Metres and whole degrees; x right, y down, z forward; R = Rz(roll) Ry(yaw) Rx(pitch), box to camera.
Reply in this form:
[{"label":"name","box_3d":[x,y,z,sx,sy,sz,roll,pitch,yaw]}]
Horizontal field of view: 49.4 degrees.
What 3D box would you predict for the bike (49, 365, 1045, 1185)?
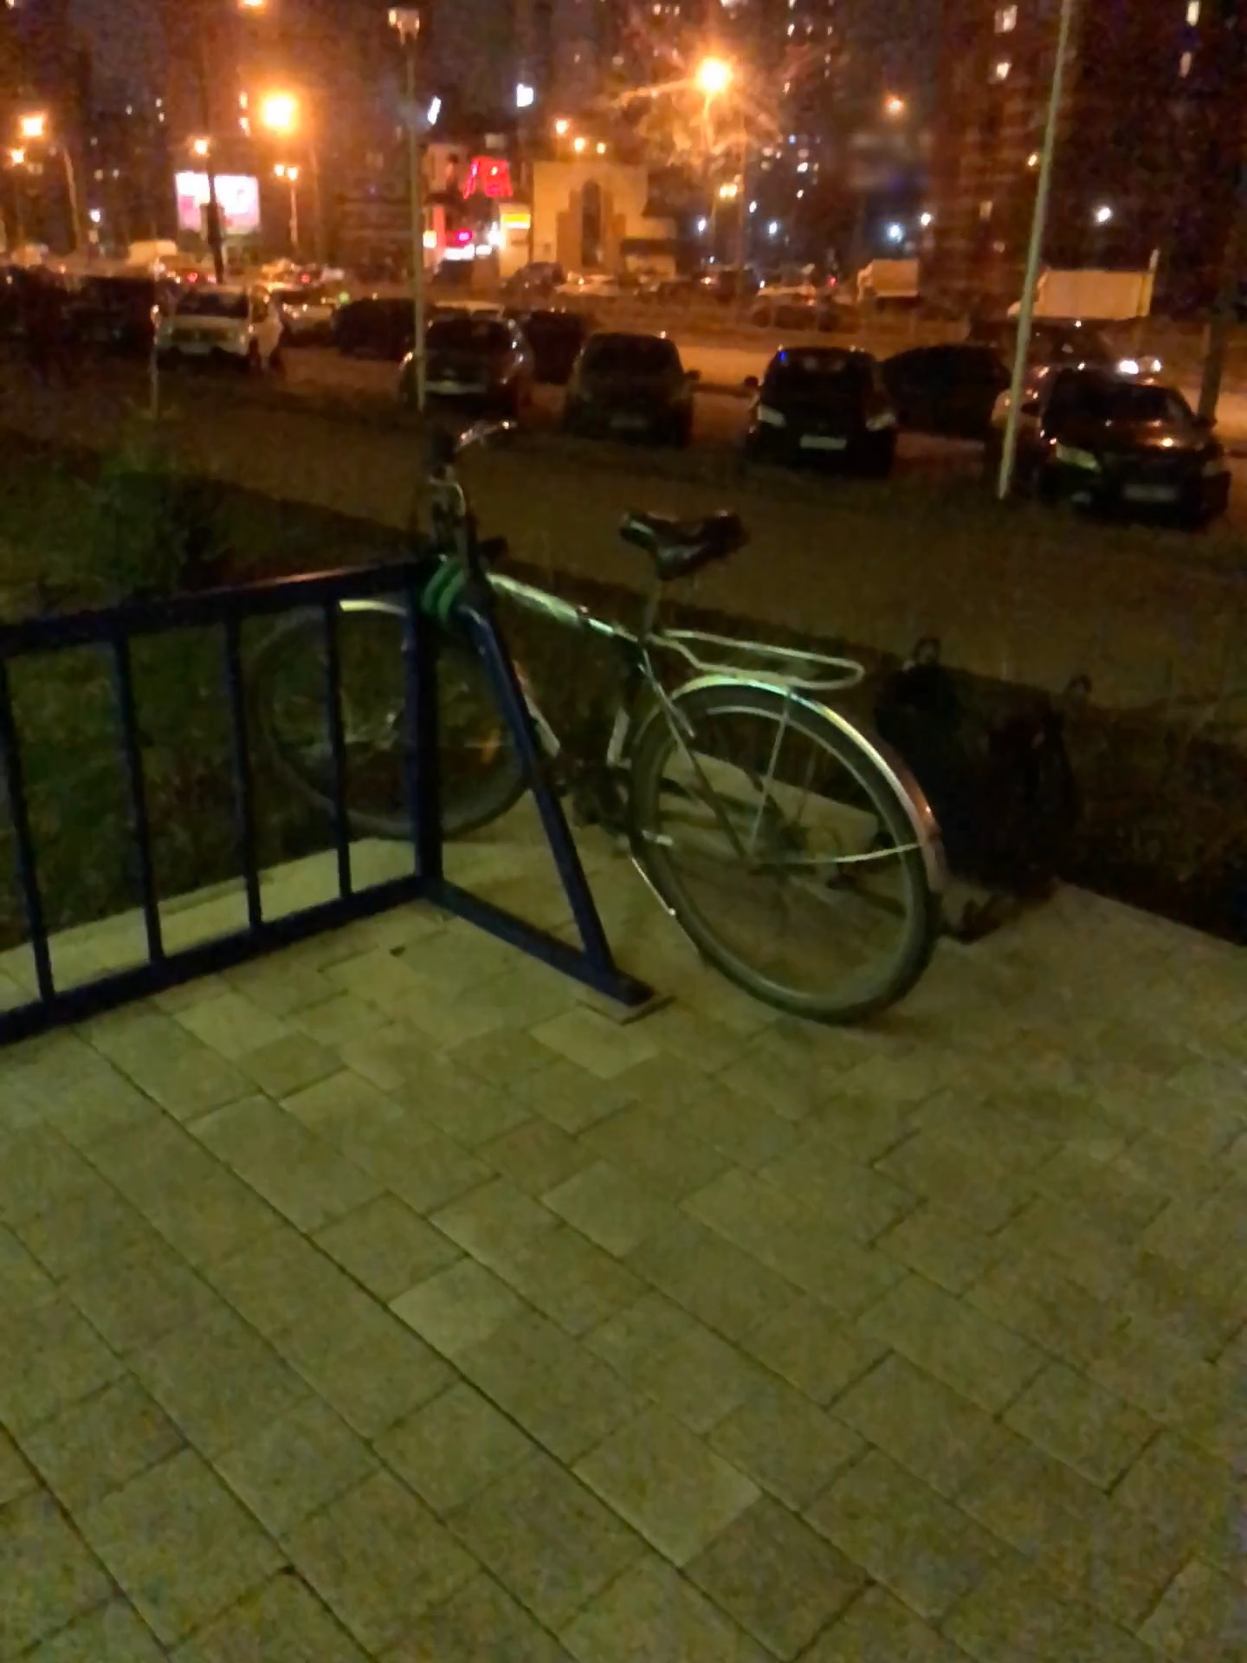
[{"label":"bike","box_3d":[-0.220,-0.252,2.706,1.720,1.046,0.681,19,28,31]}]
